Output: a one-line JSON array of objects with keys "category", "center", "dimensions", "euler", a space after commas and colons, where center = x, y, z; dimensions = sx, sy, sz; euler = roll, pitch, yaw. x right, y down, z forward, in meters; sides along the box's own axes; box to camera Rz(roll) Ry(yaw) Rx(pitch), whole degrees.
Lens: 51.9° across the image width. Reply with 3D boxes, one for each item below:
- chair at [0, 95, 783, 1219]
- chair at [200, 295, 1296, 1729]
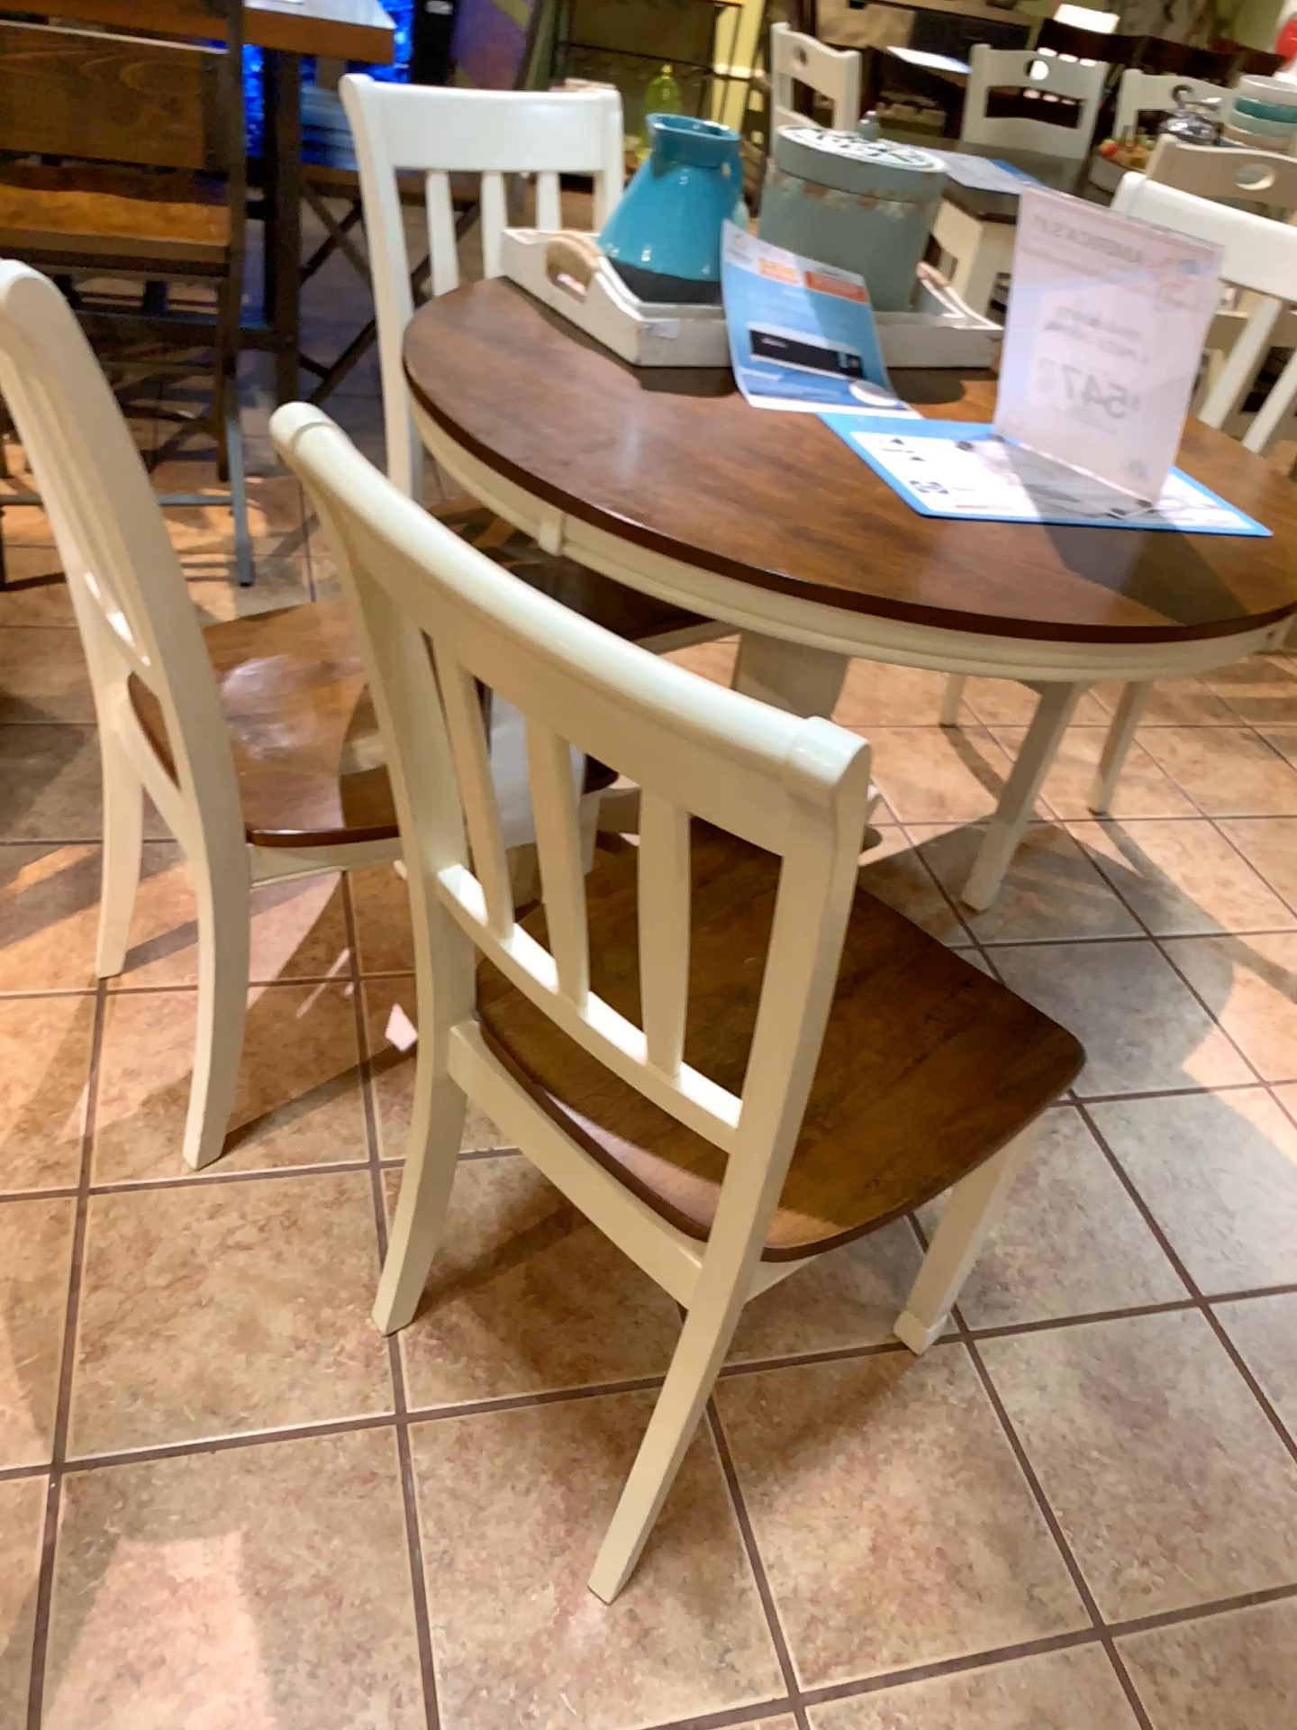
[{"category": "chair", "center": [-0.352, -0.214, 1.385], "dimensions": [0.633, 0.901, 0.491], "euler": [-16, 45, -32]}, {"category": "chair", "center": [0.066, 0.093, 1.094], "dimensions": [0.634, 0.891, 0.491], "euler": [-24, 50, -38]}]
